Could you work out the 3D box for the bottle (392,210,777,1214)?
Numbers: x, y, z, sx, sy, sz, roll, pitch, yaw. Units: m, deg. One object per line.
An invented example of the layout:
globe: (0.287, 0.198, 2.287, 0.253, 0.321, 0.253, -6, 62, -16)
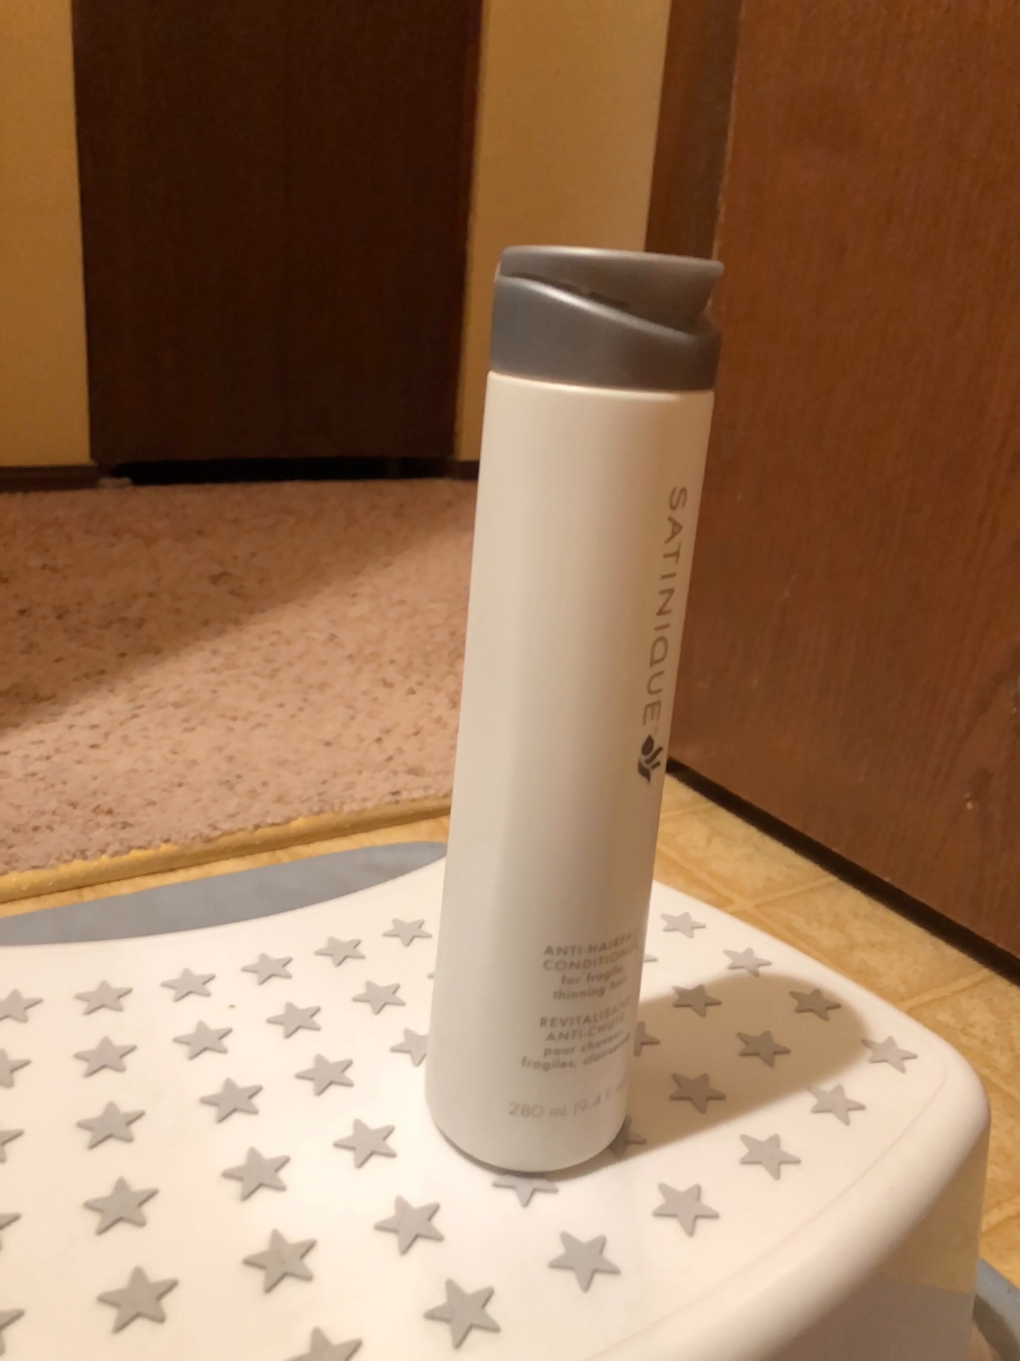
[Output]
bottle: (0.009, 0.011, 0.253, 0.050, 0.209, 0.050, 4, 19, -1)
